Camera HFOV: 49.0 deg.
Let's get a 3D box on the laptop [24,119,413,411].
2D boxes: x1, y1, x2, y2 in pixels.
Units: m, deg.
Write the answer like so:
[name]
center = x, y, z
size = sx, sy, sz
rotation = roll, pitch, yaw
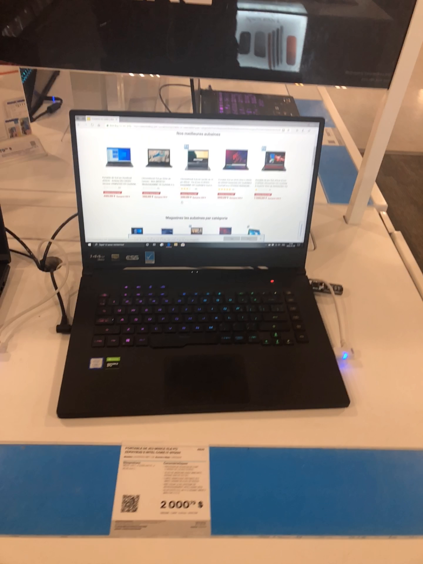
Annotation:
[laptop]
center = -0.005, -0.038, 0.589
size = 0.340, 0.207, 0.316
rotation = 0, 42, -4
